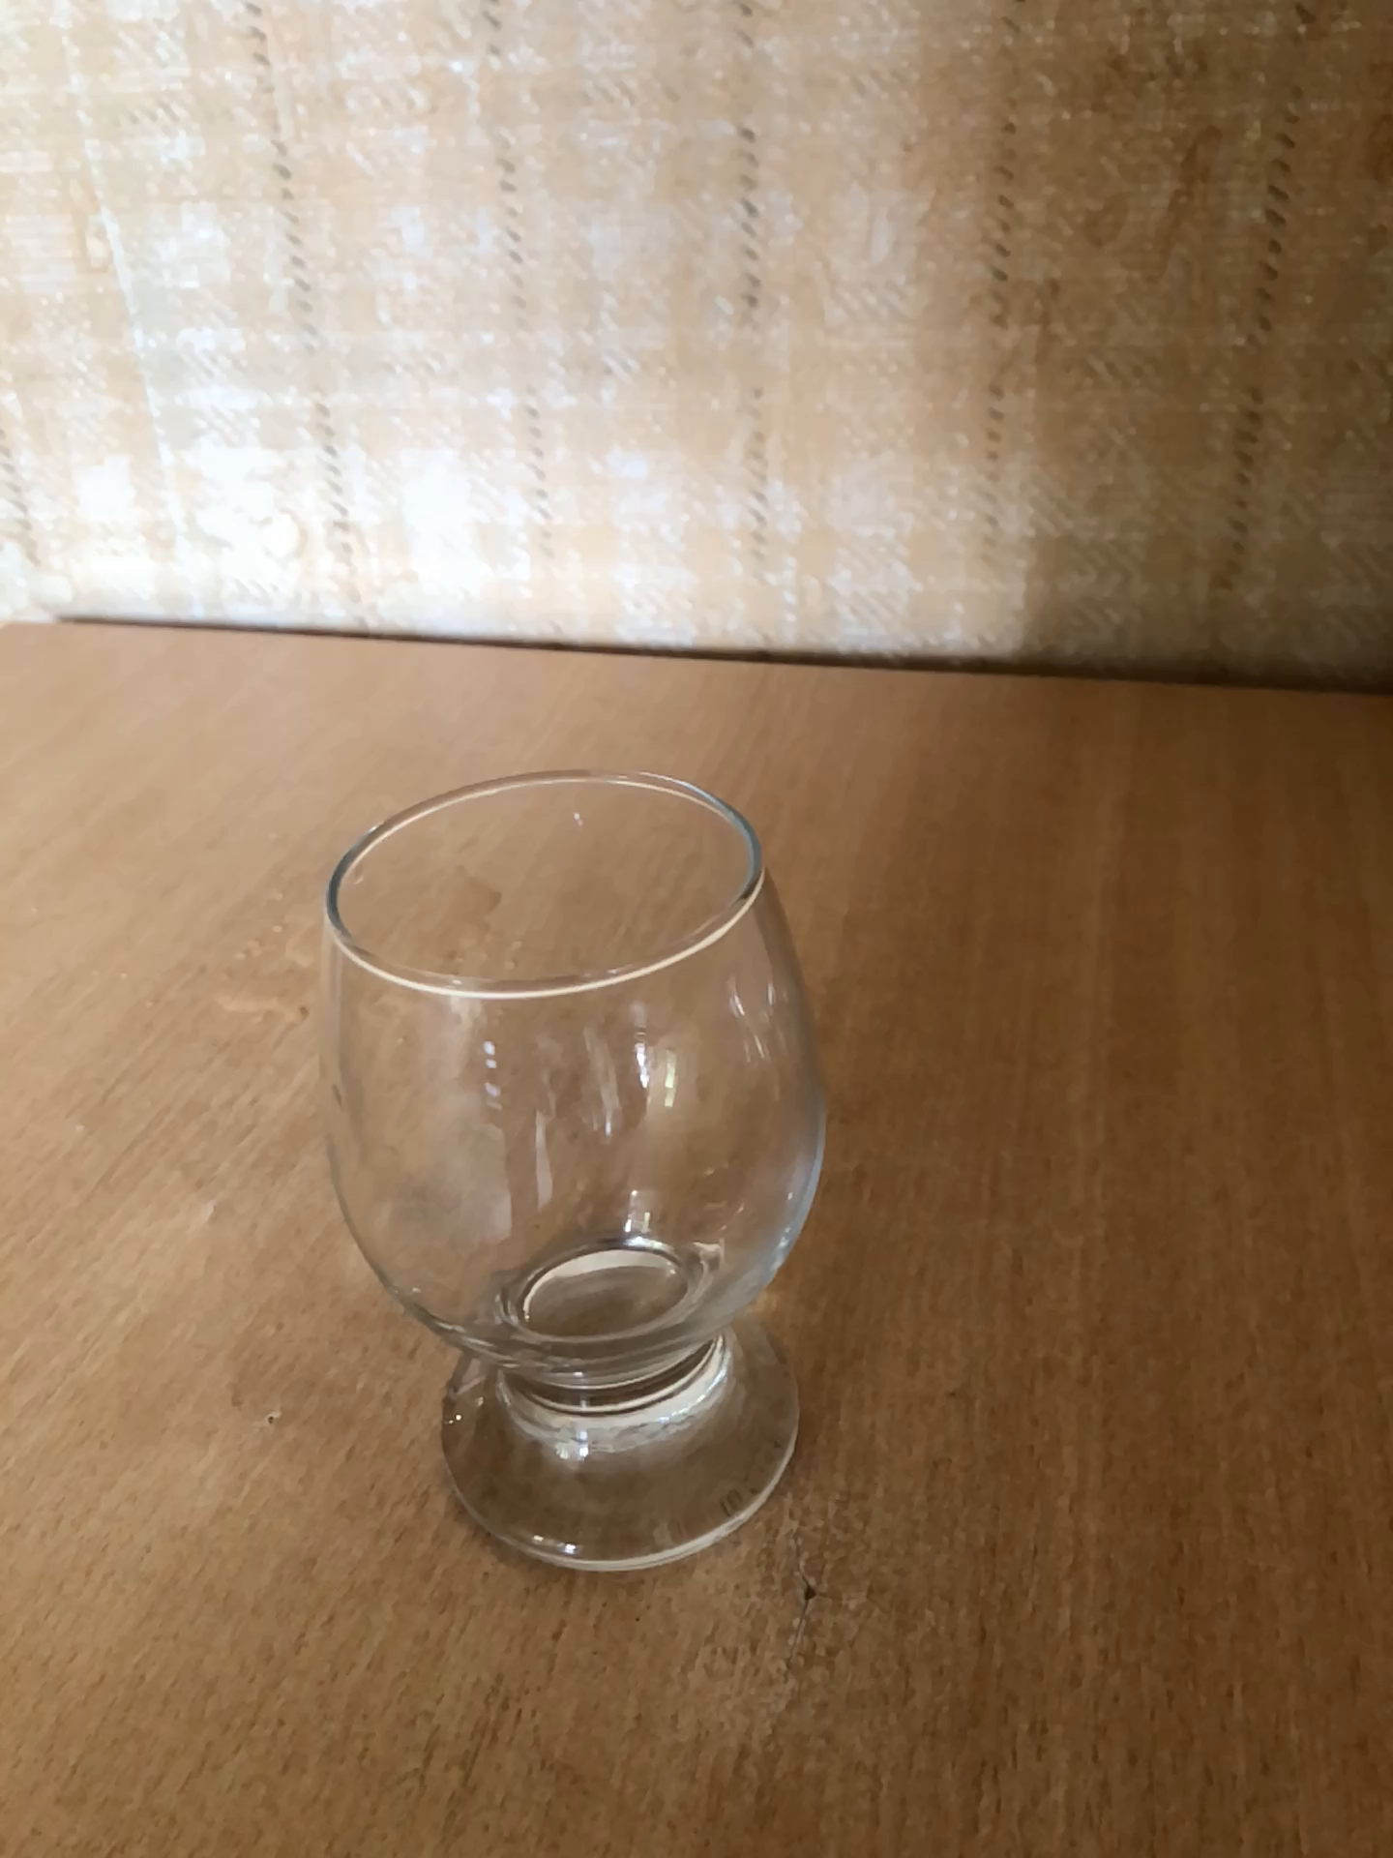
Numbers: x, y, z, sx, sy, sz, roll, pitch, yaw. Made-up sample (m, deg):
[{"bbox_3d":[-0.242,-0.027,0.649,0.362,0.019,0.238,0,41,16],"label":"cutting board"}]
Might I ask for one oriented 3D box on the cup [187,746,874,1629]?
[{"bbox_3d":[-0.015,0.037,0.242,0.076,0.105,0.074,-3,31,2],"label":"cup"}]
